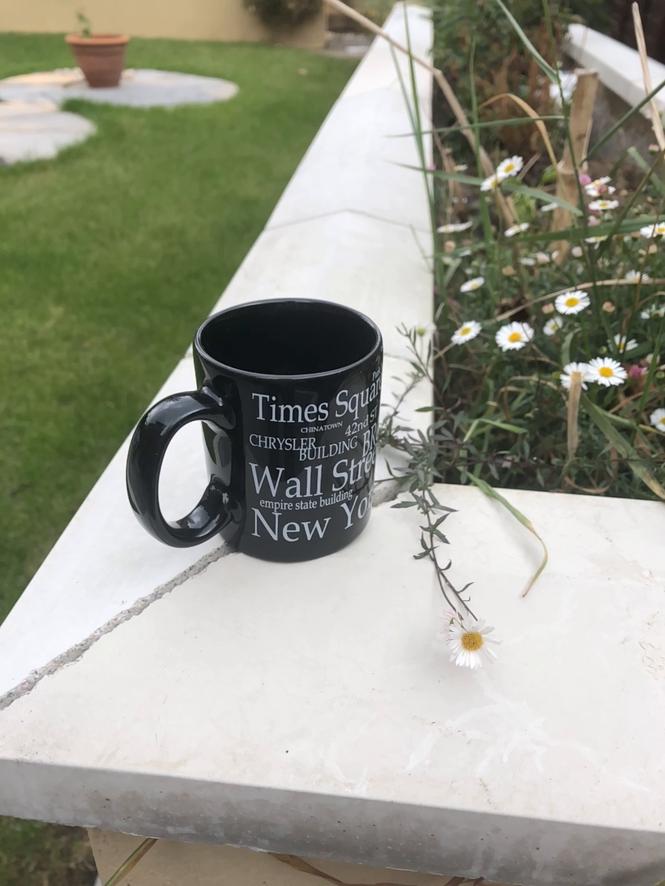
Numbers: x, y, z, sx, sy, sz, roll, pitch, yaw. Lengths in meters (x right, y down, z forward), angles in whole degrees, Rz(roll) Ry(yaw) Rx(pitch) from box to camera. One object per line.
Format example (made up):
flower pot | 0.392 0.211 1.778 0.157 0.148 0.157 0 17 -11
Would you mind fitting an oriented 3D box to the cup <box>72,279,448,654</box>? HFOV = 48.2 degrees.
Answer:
cup | -0.019 0.001 0.232 0.090 0.069 0.060 -27 42 -36
